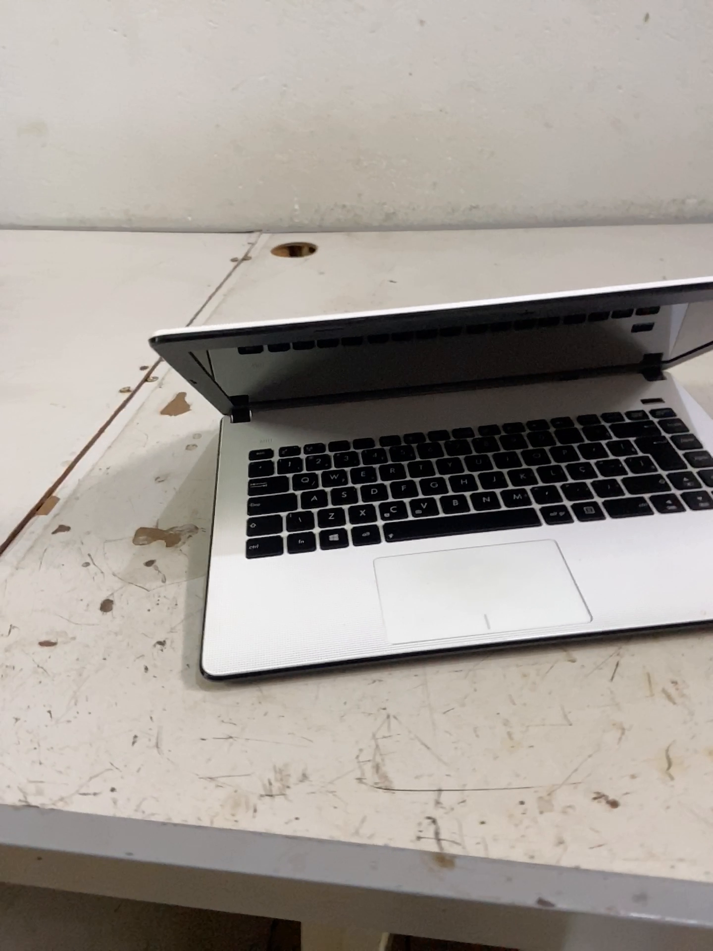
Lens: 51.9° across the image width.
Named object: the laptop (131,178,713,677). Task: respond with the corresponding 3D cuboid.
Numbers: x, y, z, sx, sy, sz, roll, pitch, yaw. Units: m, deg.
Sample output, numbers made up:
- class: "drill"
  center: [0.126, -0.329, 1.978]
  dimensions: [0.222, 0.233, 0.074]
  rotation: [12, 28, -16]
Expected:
- class: "laptop"
  center: [0.076, -0.050, 0.423]
  dimensions: [0.343, 0.141, 0.237]
  rotation: [-6, 37, -3]
